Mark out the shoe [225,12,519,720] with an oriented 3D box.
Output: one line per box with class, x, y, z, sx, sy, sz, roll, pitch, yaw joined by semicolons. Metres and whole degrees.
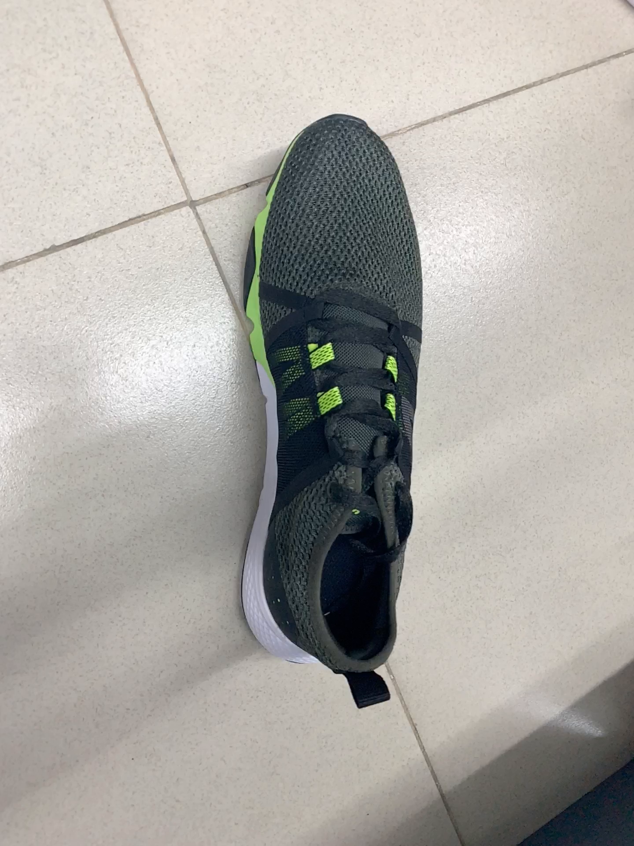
shoe;0.021;-0.022;0.341;0.110;0.100;0.300;1;93;-19
